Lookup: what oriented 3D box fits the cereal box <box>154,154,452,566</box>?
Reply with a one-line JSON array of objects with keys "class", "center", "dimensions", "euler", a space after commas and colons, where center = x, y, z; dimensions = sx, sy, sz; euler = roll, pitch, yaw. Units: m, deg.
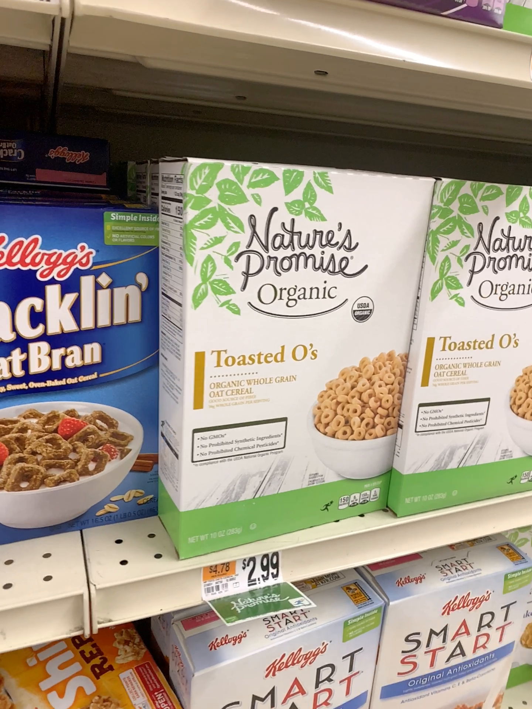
[{"class": "cereal box", "center": [0.019, 0.001, 0.408], "dimensions": [0.190, 0.269, 0.070], "euler": [-5, 20, -26]}]
